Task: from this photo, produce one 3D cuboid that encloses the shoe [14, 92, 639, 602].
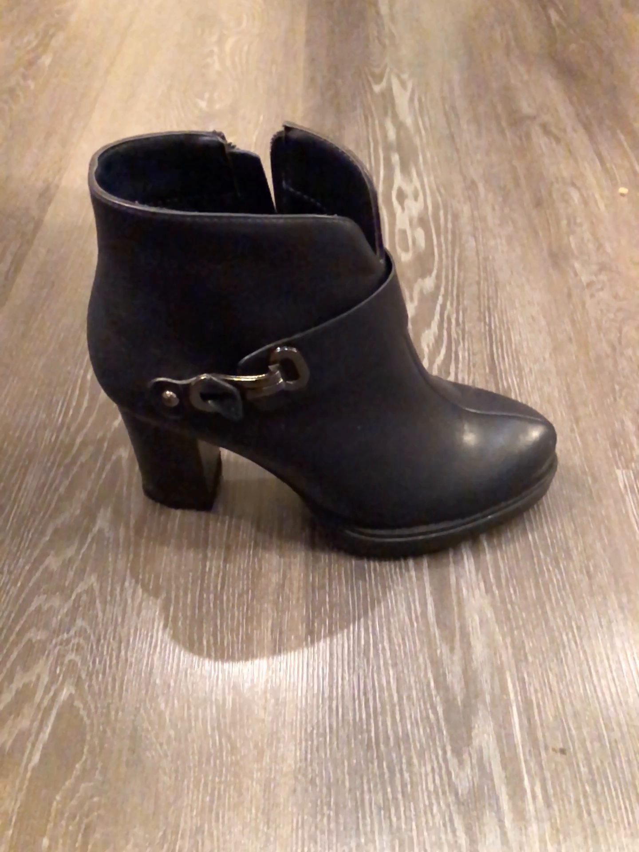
[{"bbox_3d":[0.018,-0.026,0.316,0.220,0.179,0.101,8,50,5],"label":"shoe"}]
